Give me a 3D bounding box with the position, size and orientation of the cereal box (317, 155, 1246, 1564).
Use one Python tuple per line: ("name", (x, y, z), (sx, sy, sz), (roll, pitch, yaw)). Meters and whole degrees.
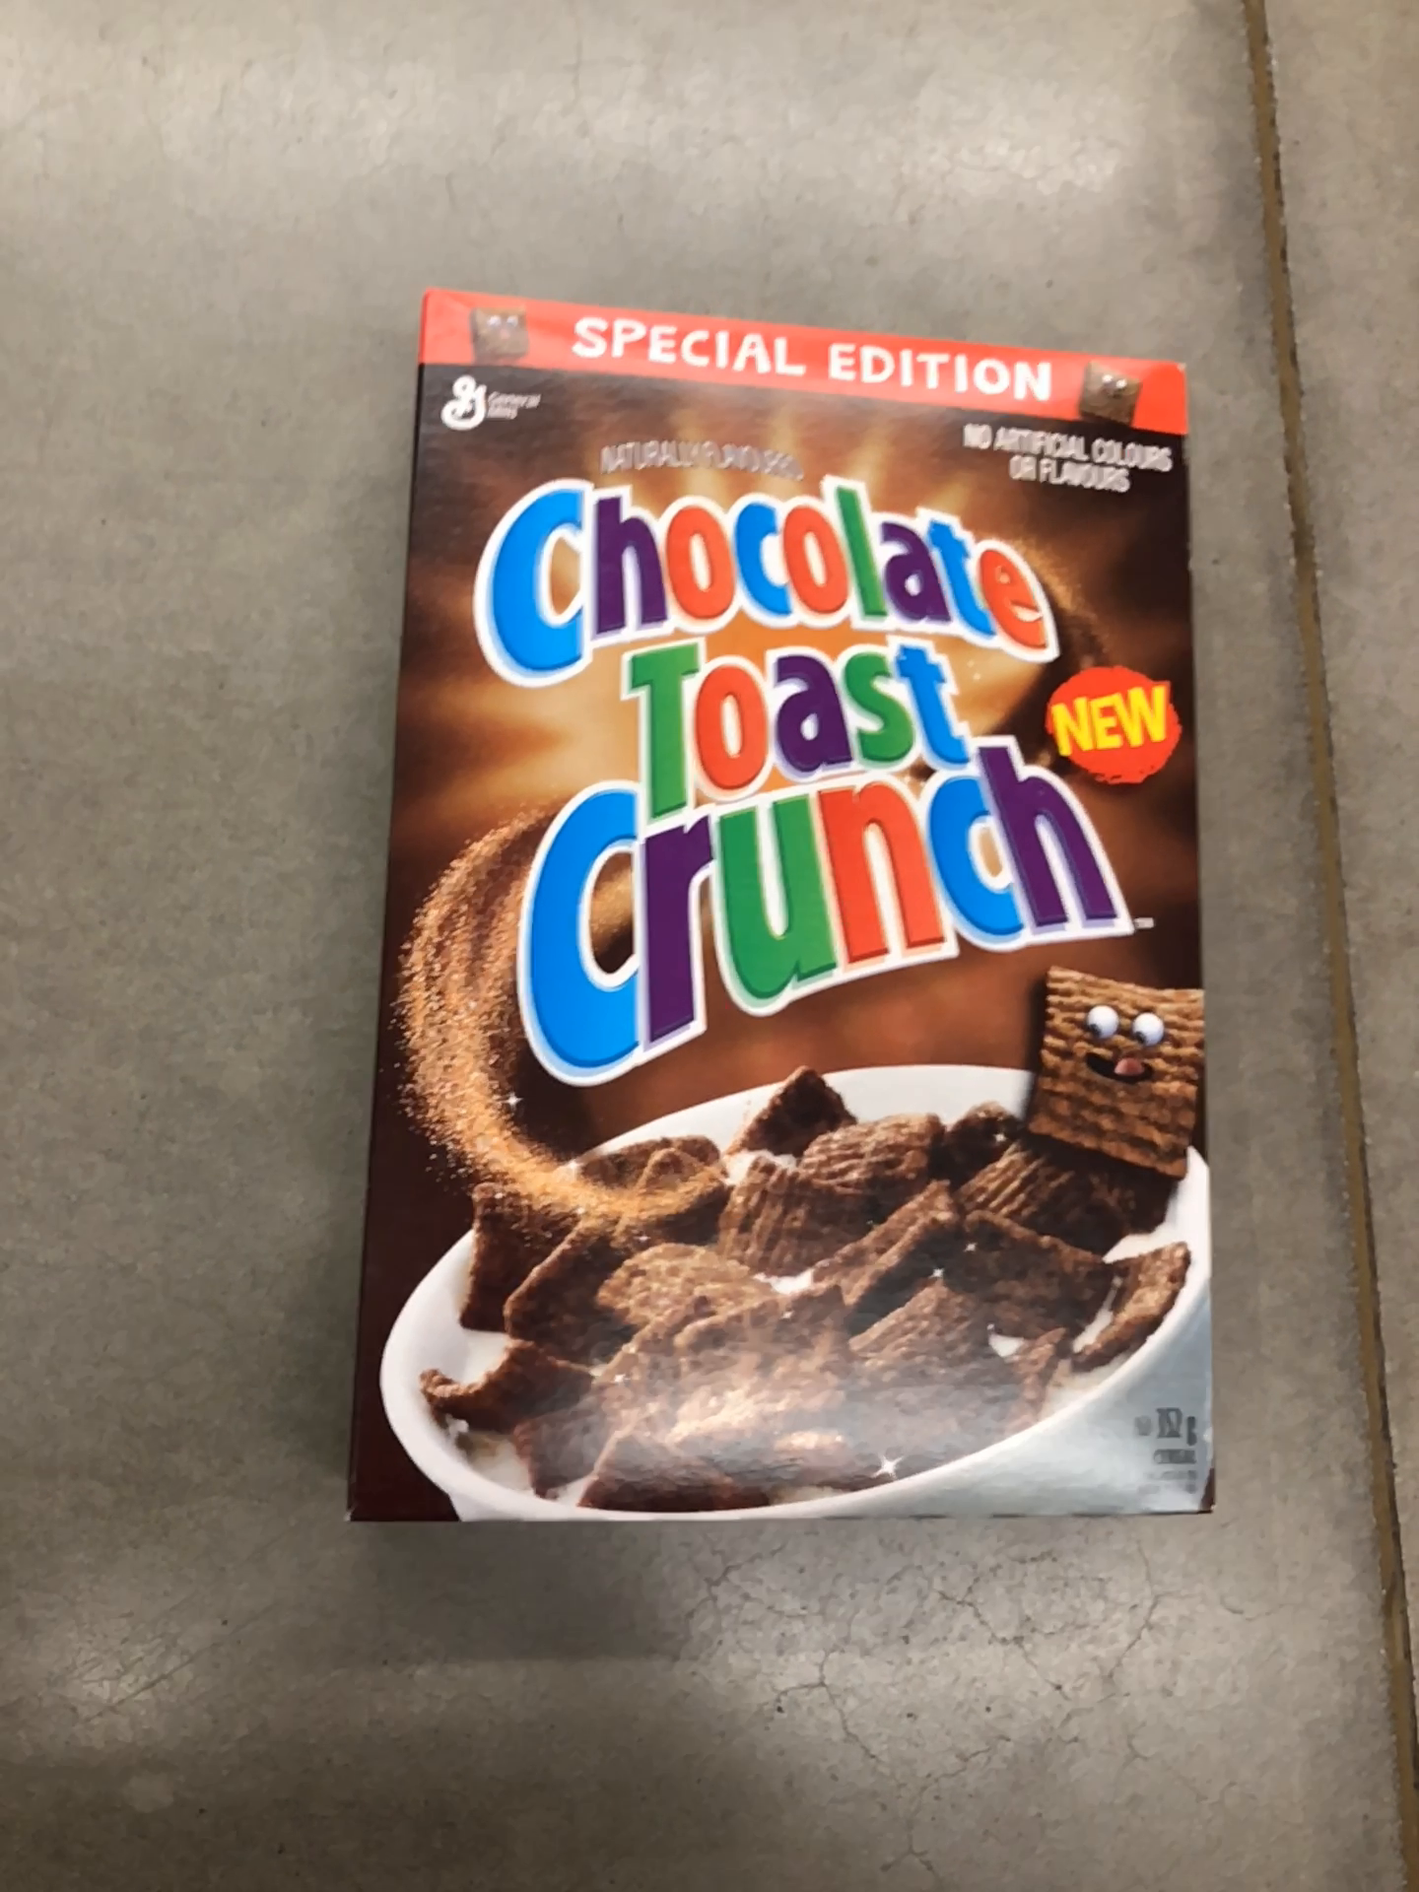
("cereal box", (0.013, -0.023, 0.382), (0.190, 0.070, 0.310), (2, 77, -9))
